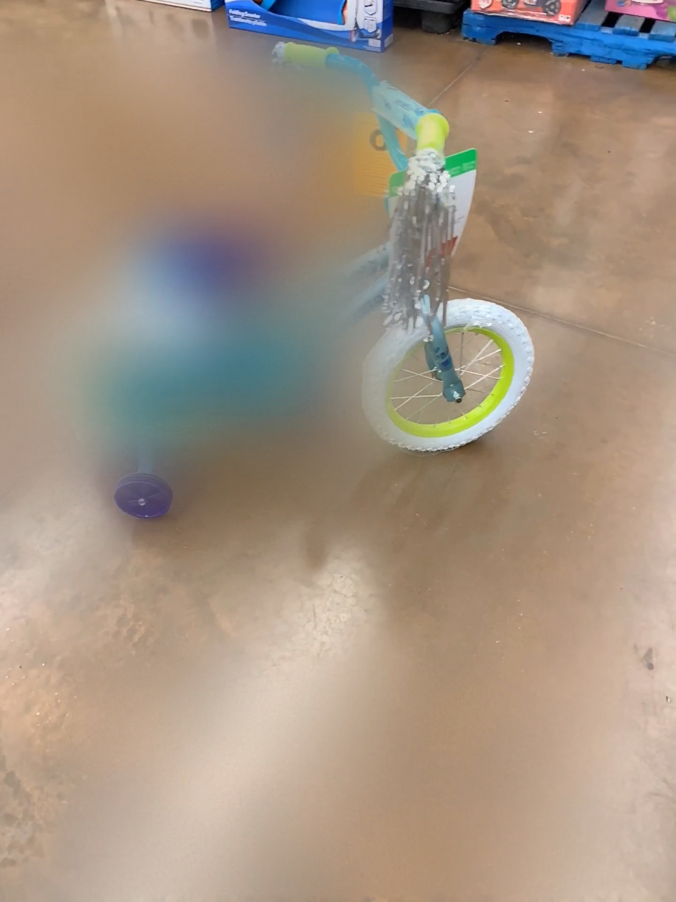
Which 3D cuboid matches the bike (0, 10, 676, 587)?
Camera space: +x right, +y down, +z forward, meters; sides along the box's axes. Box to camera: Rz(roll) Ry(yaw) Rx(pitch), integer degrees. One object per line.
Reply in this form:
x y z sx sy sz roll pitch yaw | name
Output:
-0.073 -0.251 1.124 0.858 0.639 0.626 -5 48 -4 | bike
